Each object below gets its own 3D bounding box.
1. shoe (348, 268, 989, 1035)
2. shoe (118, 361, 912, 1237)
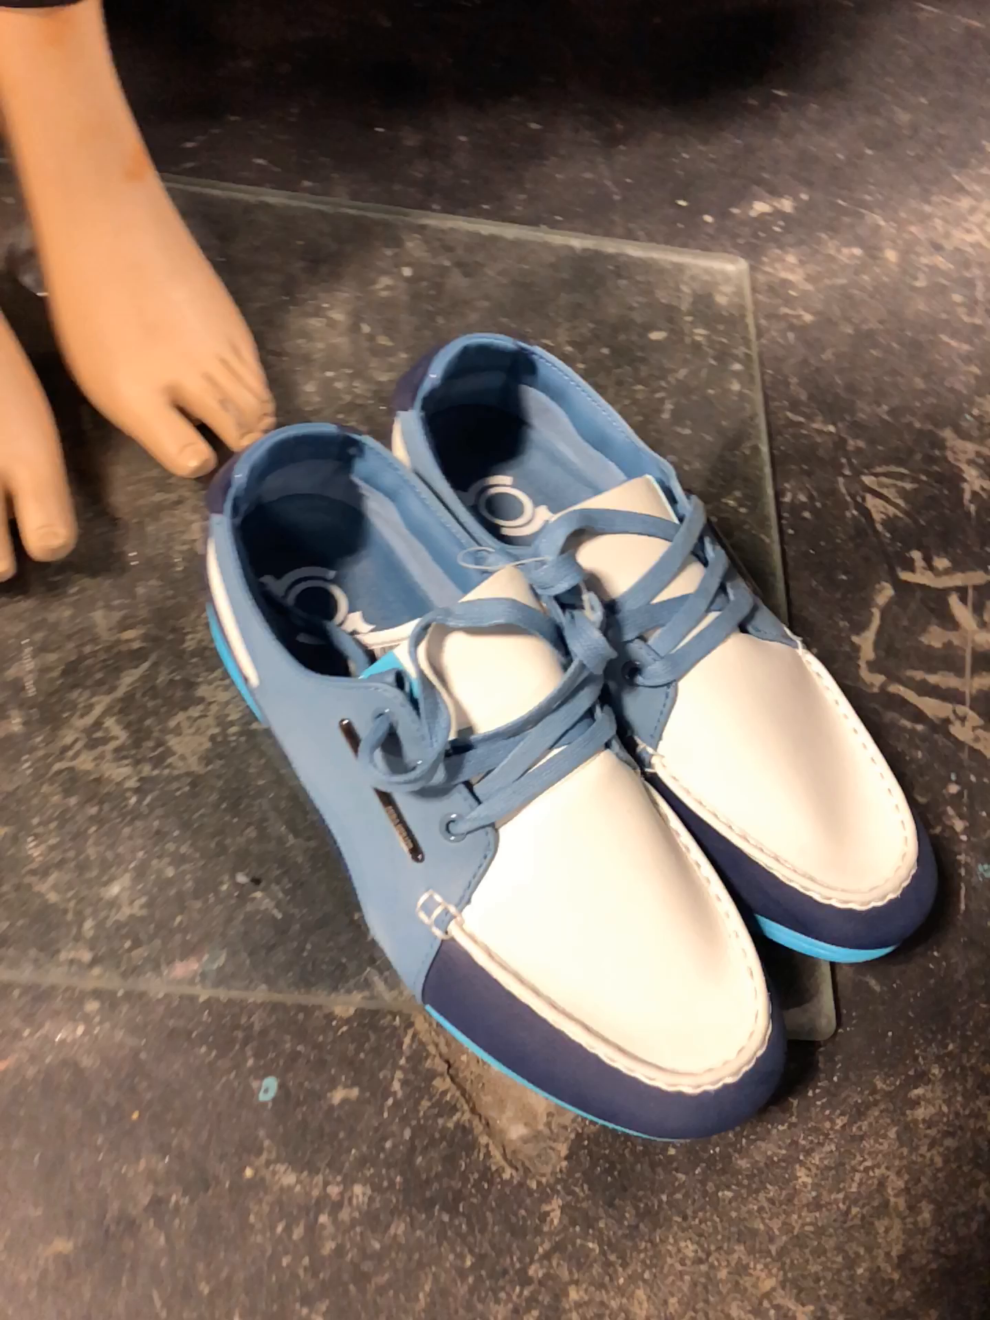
[{"bbox_3d":[0.060,-0.010,0.396,0.100,0.099,0.251,-32,68,-21],"label":"shoe"},{"bbox_3d":[-0.011,0.037,0.357,0.090,0.099,0.261,-31,68,-24],"label":"shoe"}]
